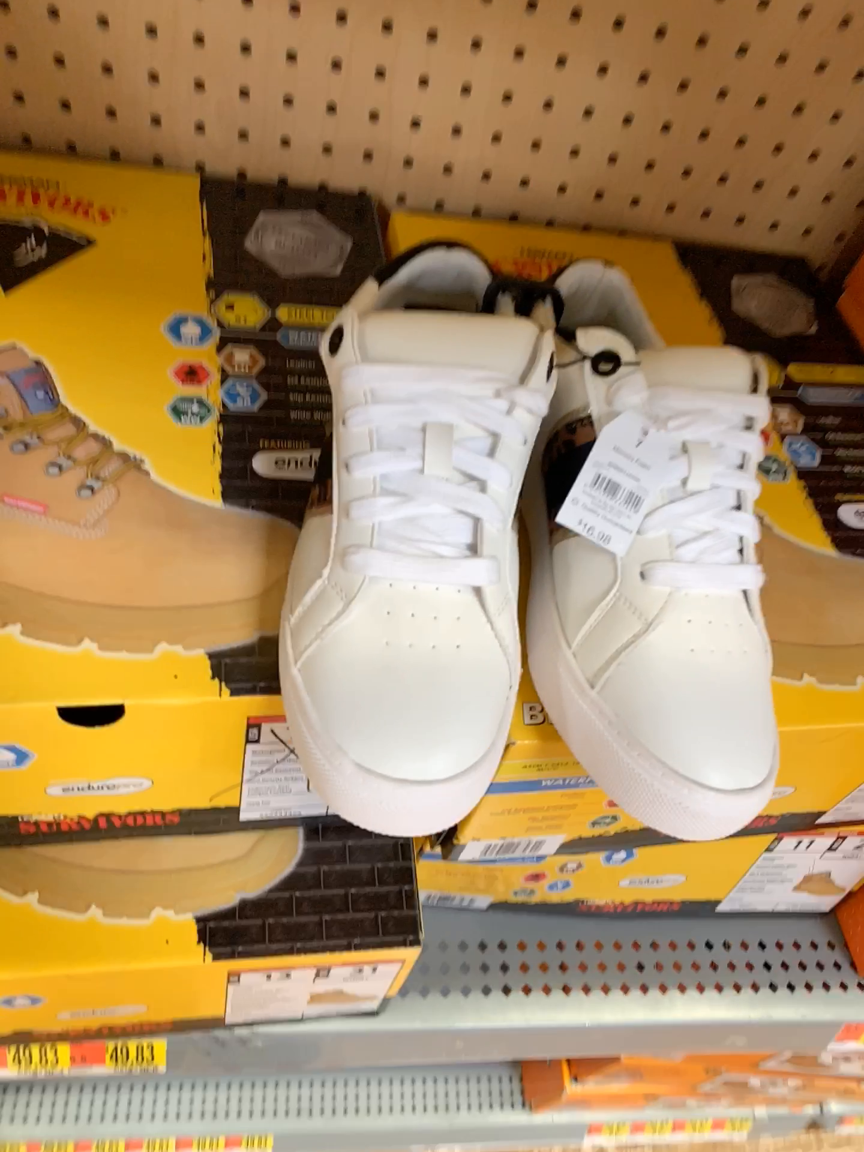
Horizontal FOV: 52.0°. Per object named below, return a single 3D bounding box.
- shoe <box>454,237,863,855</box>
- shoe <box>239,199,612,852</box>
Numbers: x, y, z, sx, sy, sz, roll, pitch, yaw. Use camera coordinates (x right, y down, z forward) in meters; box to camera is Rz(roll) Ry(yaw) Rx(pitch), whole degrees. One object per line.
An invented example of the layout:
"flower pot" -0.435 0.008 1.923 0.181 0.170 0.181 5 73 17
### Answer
"shoe" 0.087 -0.023 0.354 0.102 0.070 0.241 2 55 -18
"shoe" -0.008 -0.031 0.336 0.100 0.072 0.246 6 54 -10
